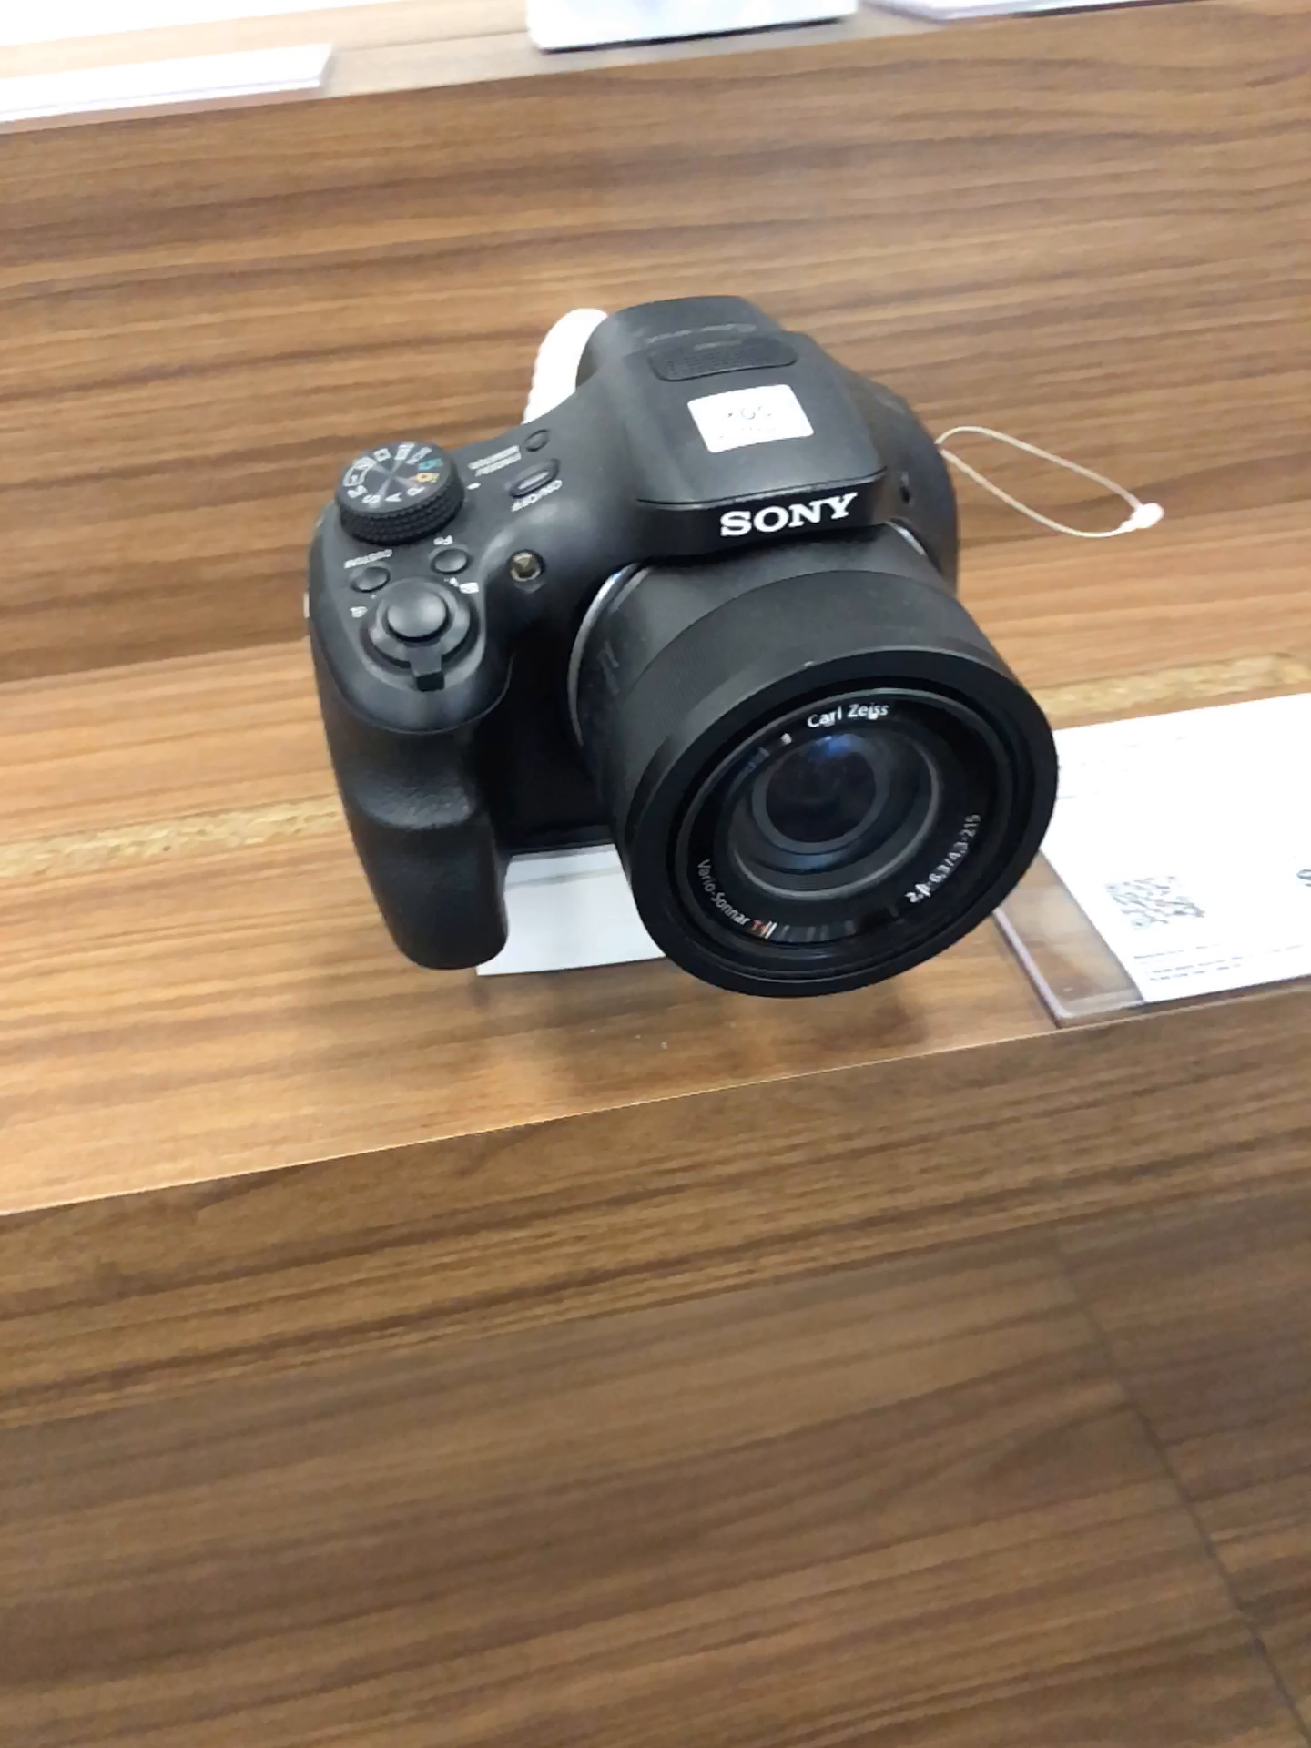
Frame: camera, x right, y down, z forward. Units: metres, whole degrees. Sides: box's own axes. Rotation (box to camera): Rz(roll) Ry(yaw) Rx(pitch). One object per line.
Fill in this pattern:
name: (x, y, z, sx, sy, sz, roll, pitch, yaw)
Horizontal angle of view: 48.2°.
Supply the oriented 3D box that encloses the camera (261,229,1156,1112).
camera: (-0.001, -0.050, 0.293, 0.130, 0.100, 0.141, -10, 39, -7)
